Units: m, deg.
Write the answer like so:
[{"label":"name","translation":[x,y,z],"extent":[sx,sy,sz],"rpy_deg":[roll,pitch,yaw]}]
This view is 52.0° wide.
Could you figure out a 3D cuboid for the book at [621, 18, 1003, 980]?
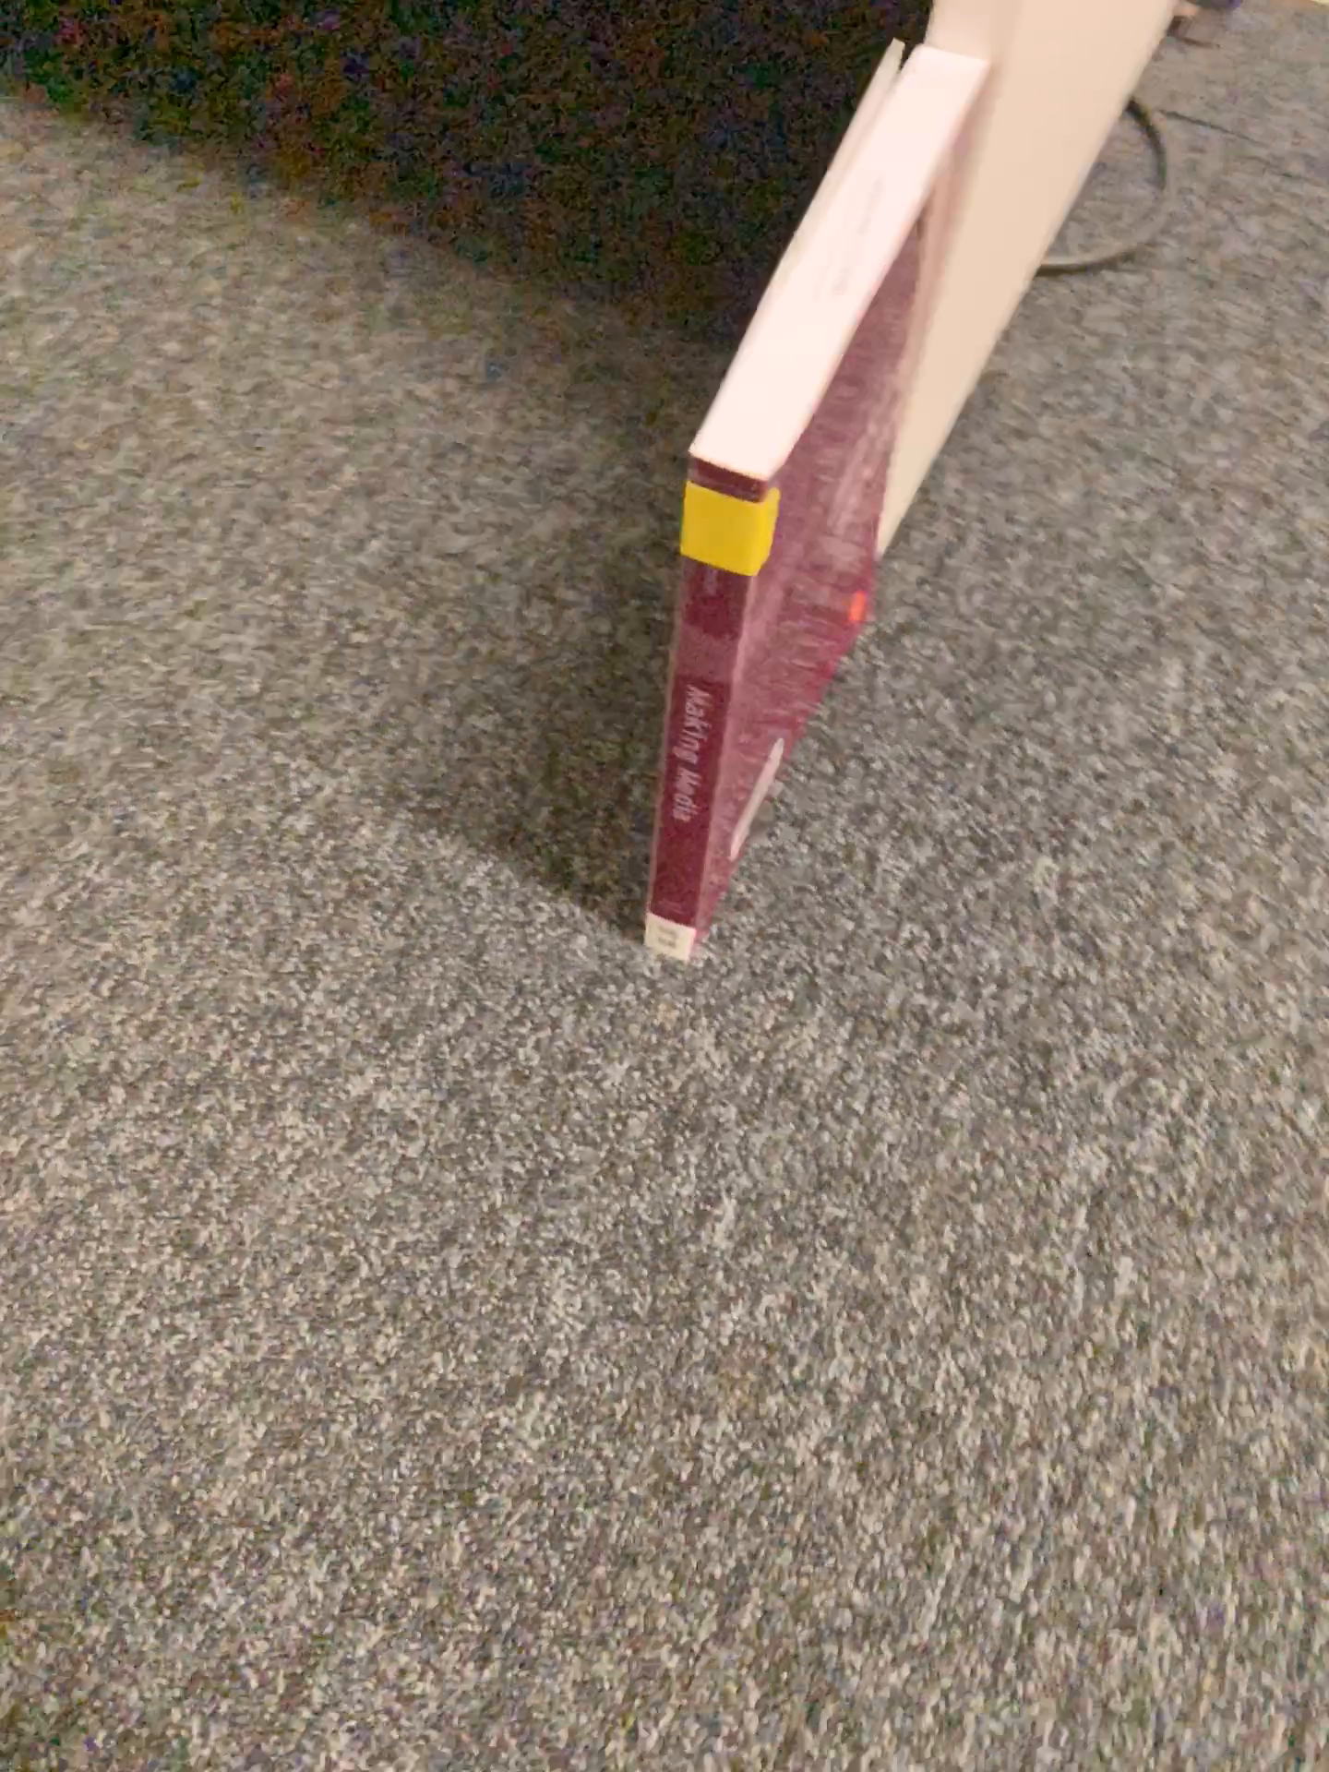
[{"label":"book","translation":[0.041,-0.110,0.445],"extent":[0.036,0.228,0.201],"rpy_deg":[19,60,9]}]
